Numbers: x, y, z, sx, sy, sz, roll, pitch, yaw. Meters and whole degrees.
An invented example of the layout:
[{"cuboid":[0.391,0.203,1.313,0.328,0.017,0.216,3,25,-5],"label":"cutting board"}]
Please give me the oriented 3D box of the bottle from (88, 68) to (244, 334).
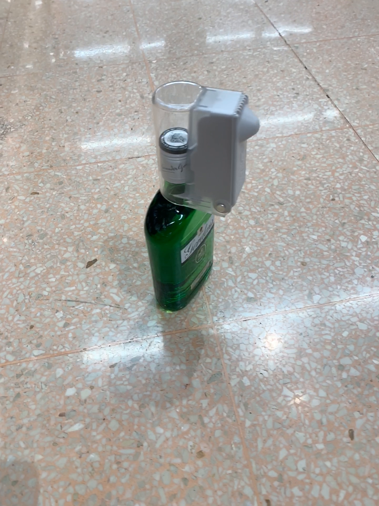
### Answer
[{"cuboid":[-0.010,-0.031,0.336,0.055,0.203,0.103,25,56,20],"label":"bottle"}]
